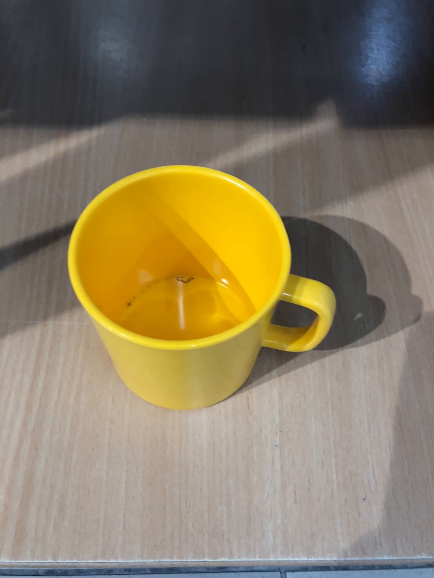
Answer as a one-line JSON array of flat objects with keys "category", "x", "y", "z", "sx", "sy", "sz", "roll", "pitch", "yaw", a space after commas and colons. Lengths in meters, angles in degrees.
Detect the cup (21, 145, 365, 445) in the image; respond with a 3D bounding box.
[{"category": "cup", "x": -0.004, "y": 0.007, "z": 0.215, "sx": 0.110, "sy": 0.090, "sz": 0.080, "roll": 11, "pitch": 60, "yaw": 4}]
